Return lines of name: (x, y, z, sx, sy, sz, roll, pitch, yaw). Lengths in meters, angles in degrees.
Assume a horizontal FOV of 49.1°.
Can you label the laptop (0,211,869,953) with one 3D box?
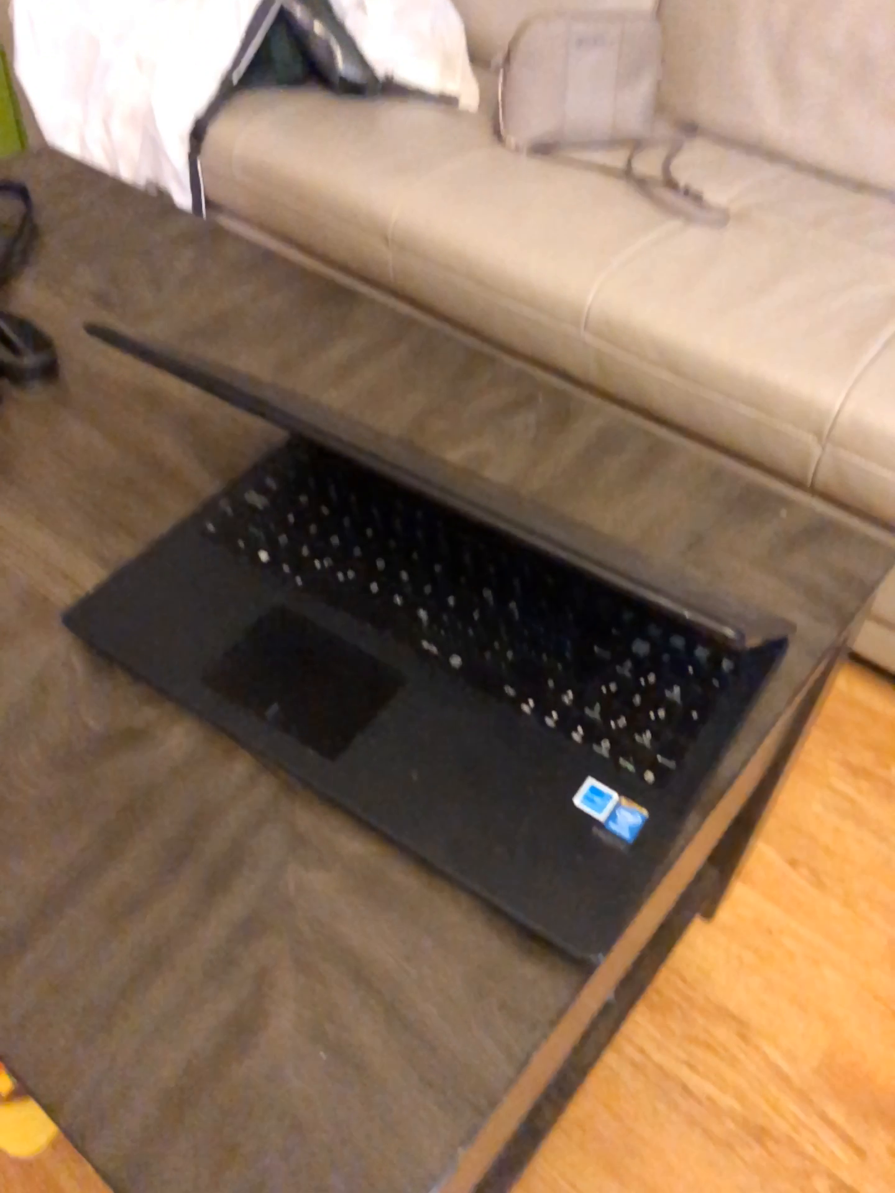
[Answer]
laptop: (-0.011, -0.038, 0.550, 0.373, 0.164, 0.239, 28, 52, 22)
